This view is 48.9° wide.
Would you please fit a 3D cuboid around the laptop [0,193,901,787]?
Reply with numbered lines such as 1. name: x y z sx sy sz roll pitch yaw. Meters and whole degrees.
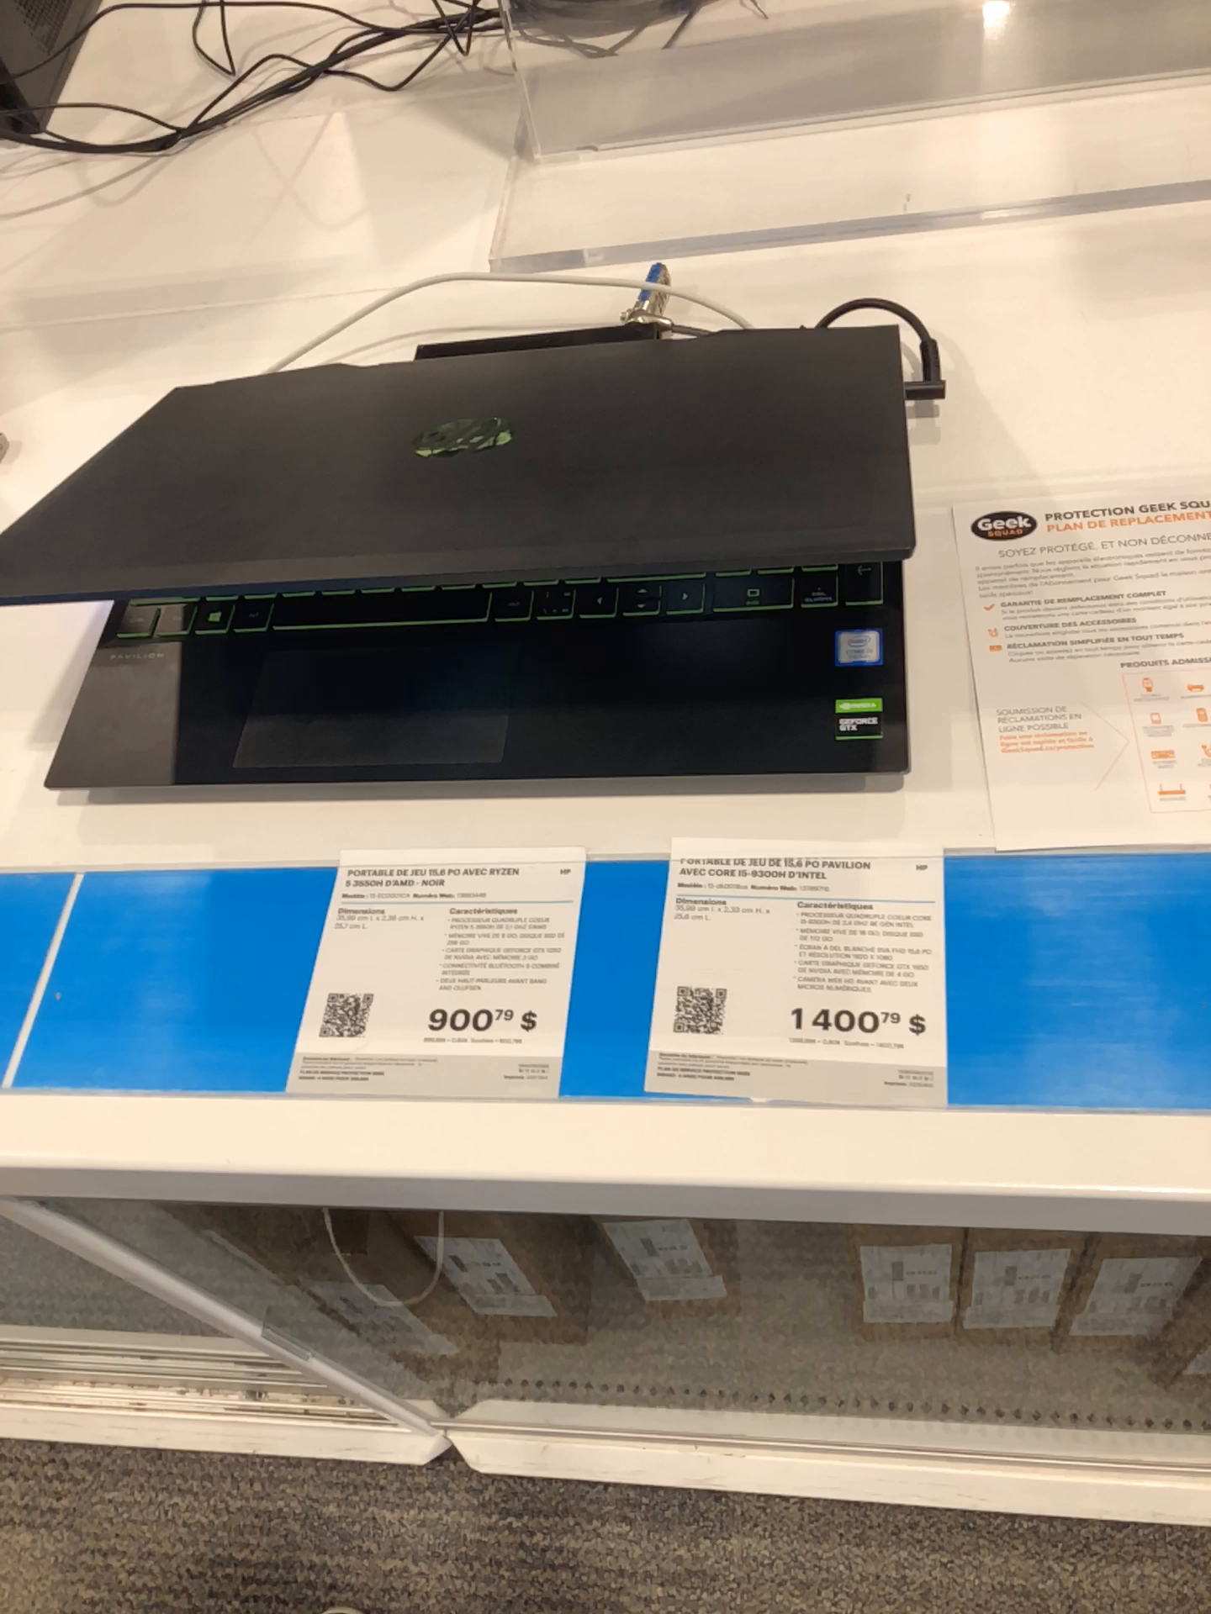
1. laptop: -0.055 -0.129 0.549 0.339 0.064 0.221 -2 62 11
